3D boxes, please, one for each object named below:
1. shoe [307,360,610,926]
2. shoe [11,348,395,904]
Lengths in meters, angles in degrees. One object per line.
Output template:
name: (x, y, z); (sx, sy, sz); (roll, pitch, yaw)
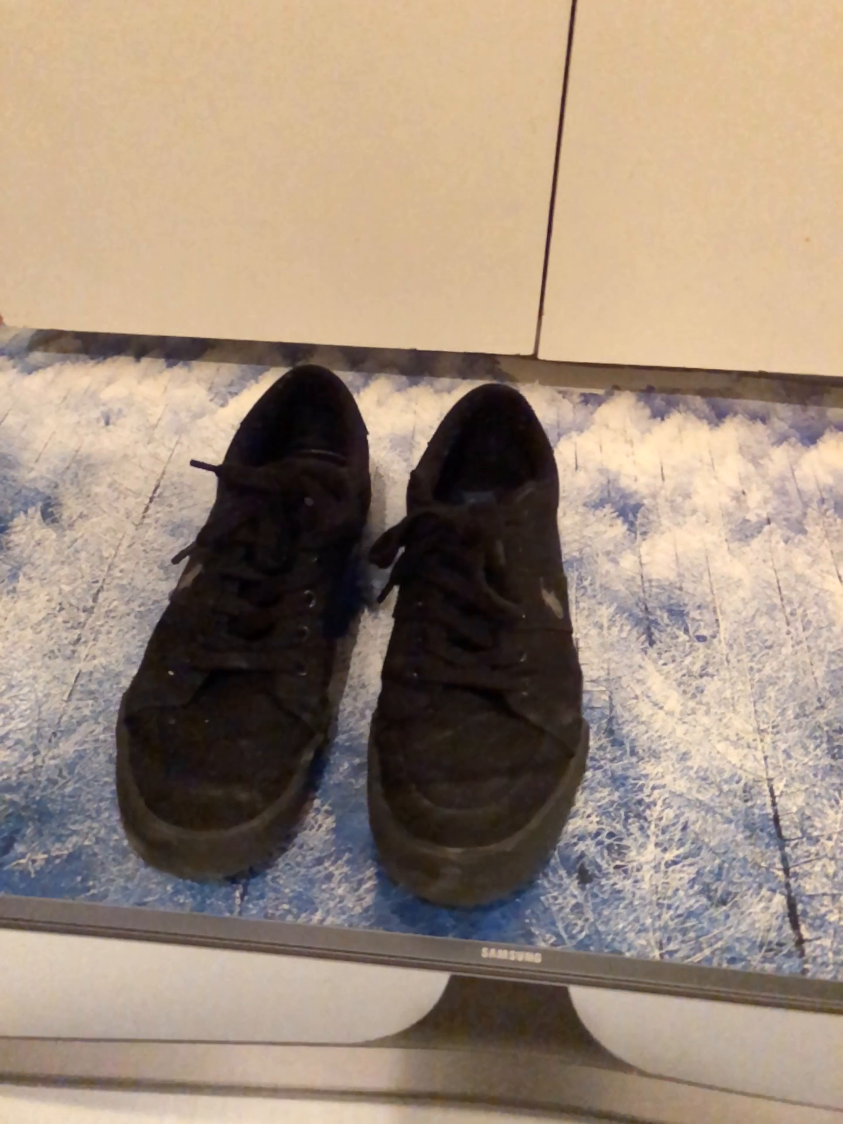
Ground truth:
shoe: (0.027, 0.024, 0.464); (0.110, 0.109, 0.262); (5, 47, 4)
shoe: (-0.087, 0.016, 0.483); (0.110, 0.109, 0.272); (5, 47, 4)
